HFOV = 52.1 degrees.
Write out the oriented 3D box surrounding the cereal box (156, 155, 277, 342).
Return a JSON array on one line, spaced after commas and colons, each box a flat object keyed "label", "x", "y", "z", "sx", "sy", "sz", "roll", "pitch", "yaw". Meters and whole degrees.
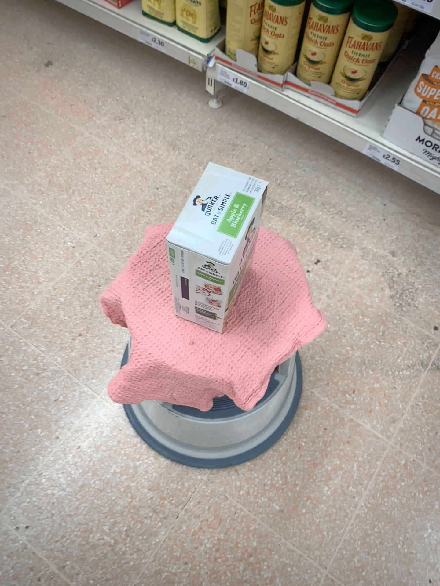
[{"label": "cereal box", "x": -0.005, "y": -0.049, "z": 0.609, "sx": 0.090, "sy": 0.209, "sz": 0.141, "roll": 22, "pitch": 64, "yaw": 9}]
